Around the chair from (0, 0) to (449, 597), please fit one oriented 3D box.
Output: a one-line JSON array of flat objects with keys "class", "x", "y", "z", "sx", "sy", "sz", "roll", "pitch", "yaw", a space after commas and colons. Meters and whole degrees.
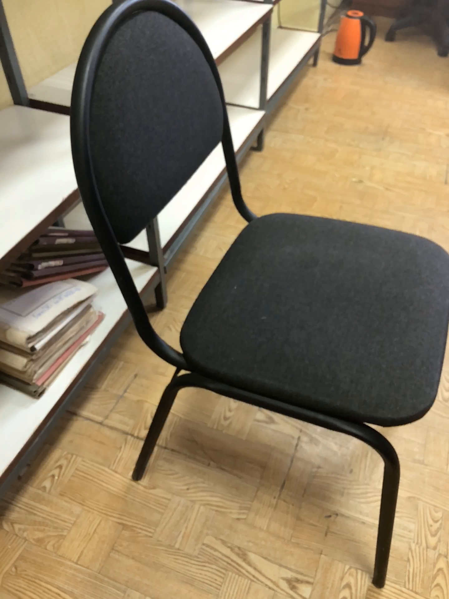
[{"class": "chair", "x": 0.109, "y": 0.003, "z": 0.821, "sx": 0.560, "sy": 0.835, "sz": 0.475, "roll": 17, "pitch": 47, "yaw": 15}]
